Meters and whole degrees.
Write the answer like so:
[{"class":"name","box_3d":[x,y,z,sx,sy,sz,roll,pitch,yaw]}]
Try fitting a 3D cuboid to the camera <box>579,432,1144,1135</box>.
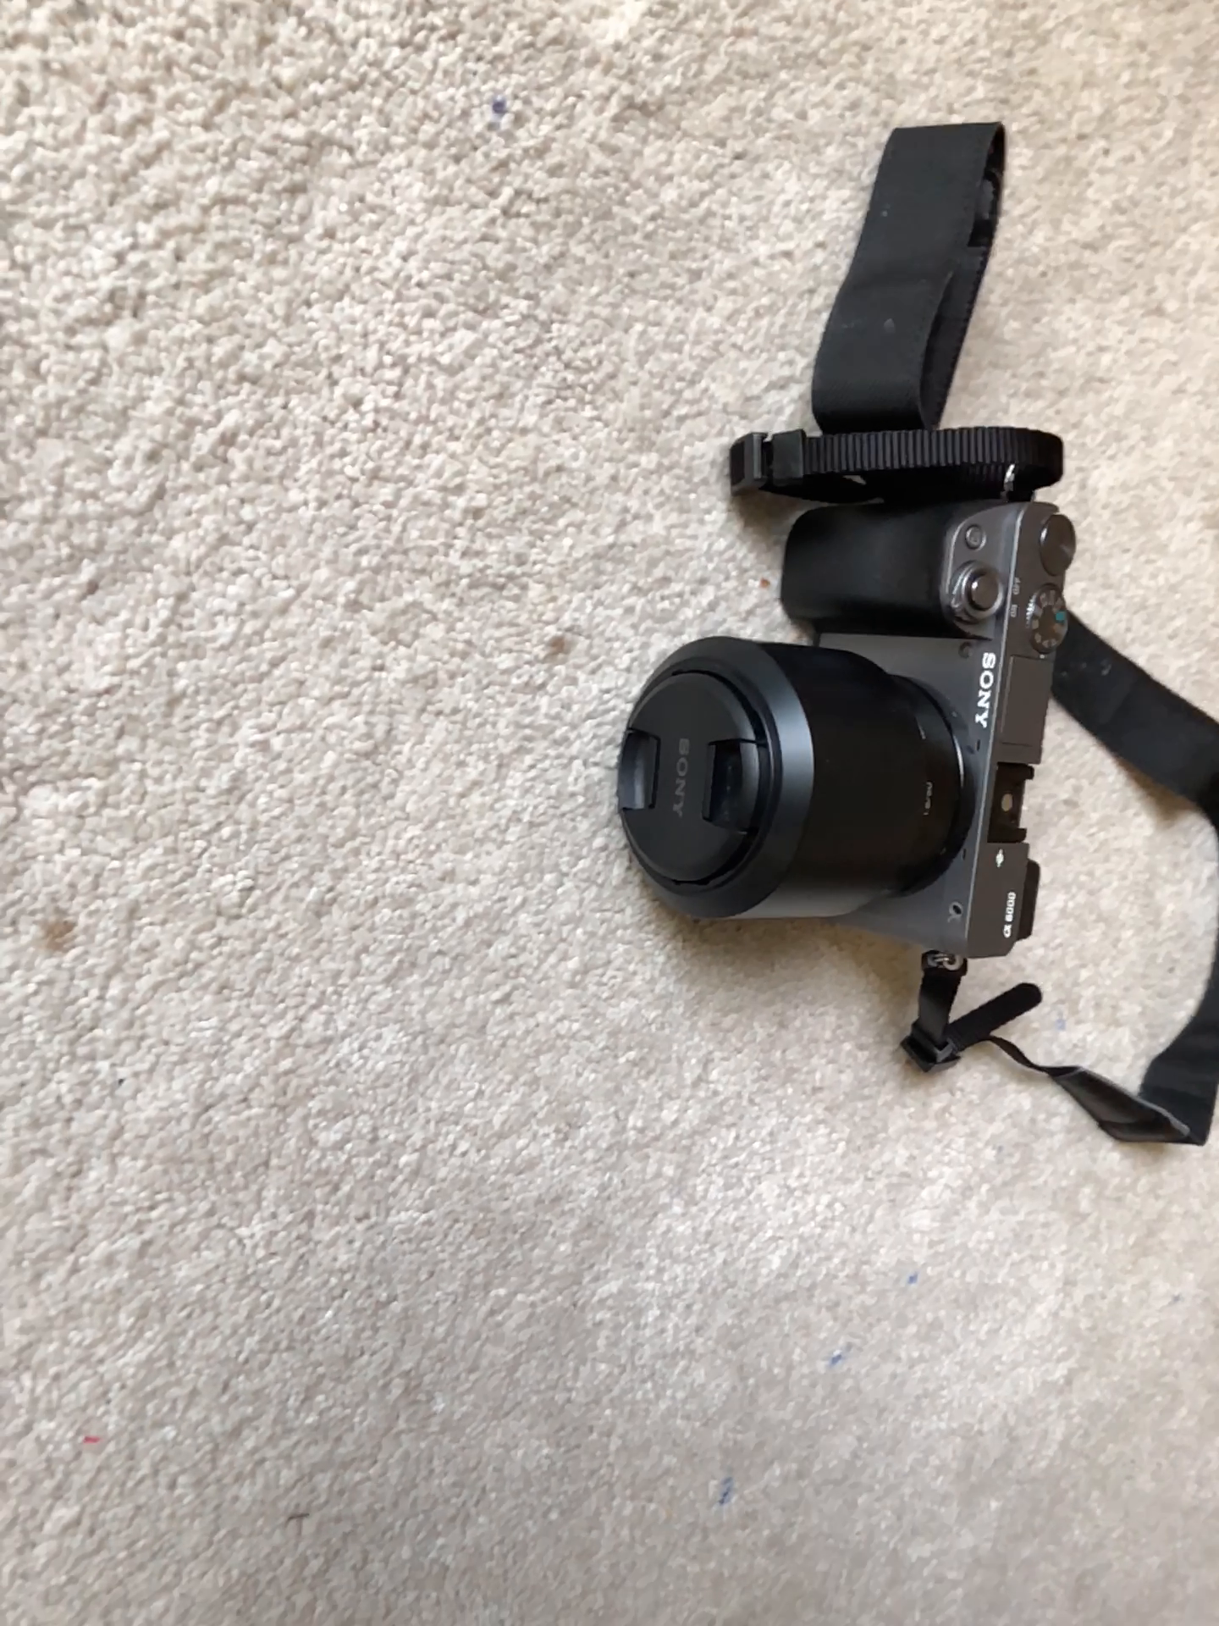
[{"class":"camera","box_3d":[0.062,-0.008,0.330,0.111,0.070,0.140,0,97,-40]}]
